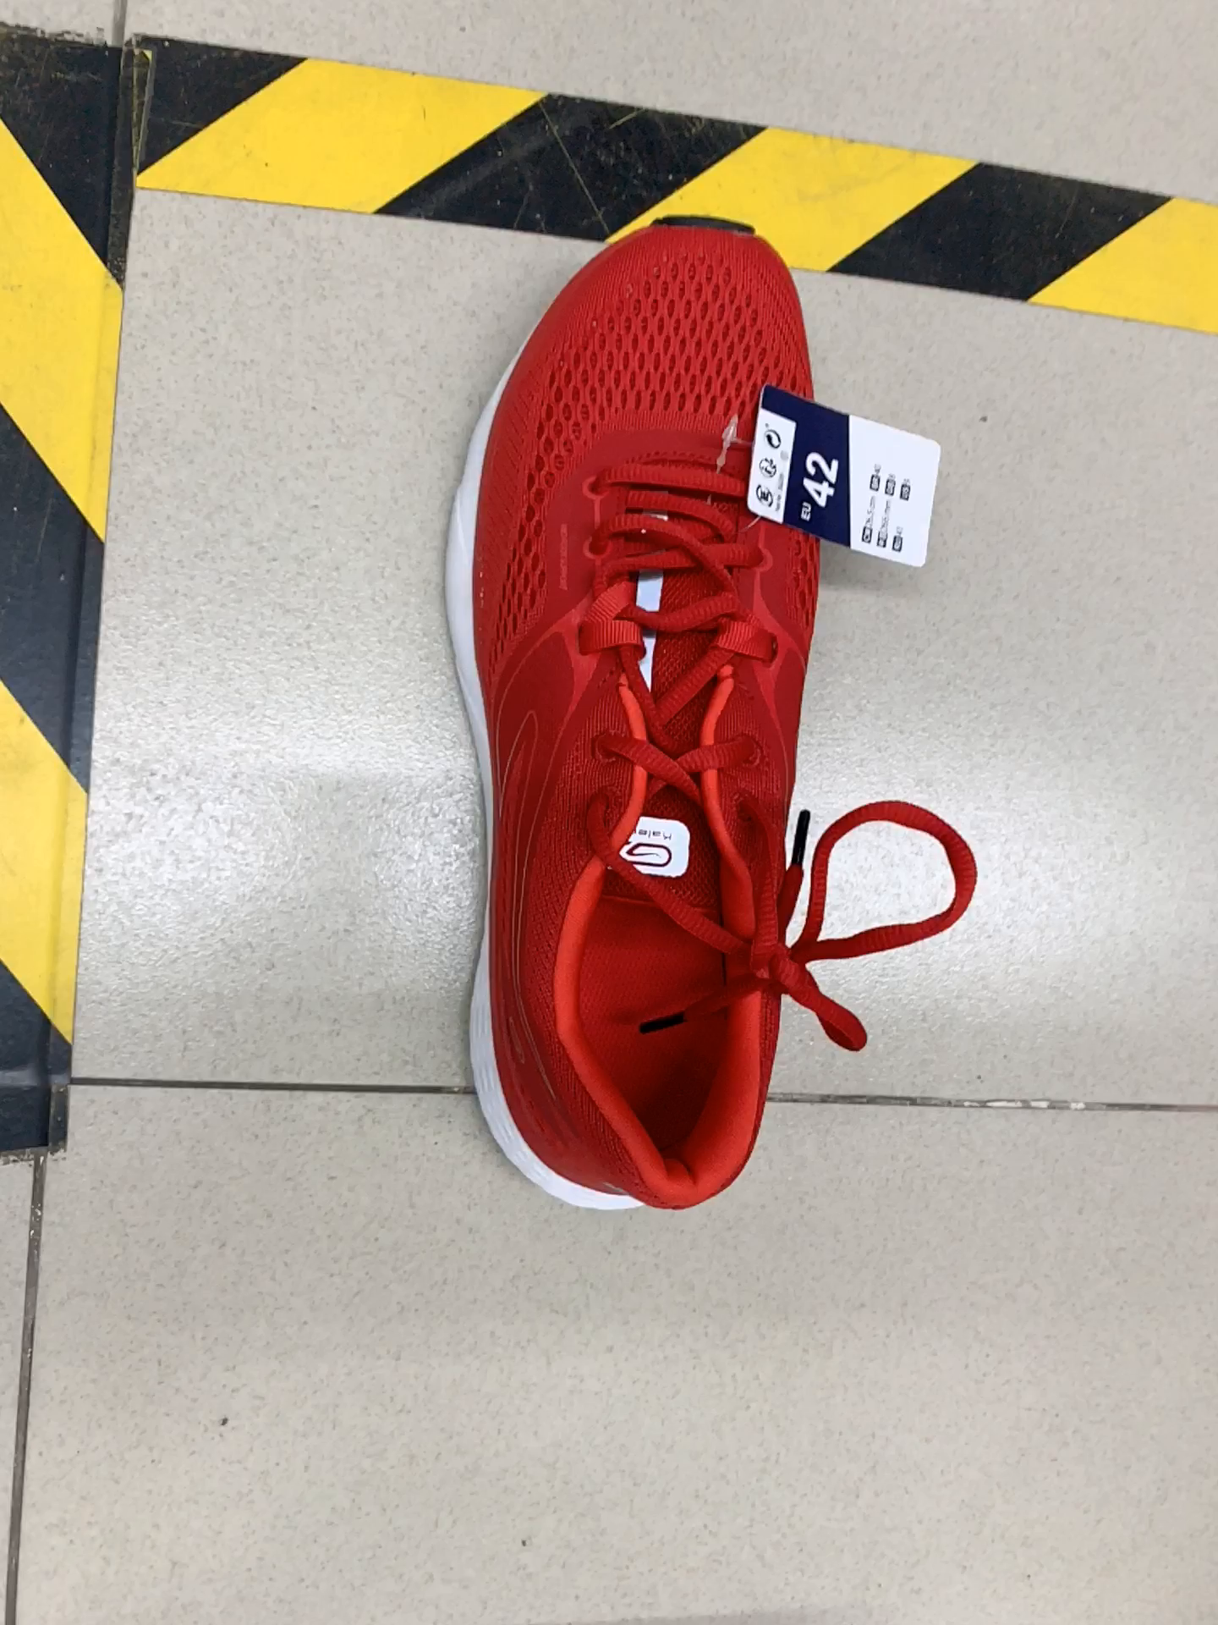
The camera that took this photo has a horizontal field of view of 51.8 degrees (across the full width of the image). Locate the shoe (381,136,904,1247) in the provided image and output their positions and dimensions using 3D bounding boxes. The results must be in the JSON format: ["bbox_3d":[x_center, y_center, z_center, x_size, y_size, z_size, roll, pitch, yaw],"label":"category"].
[{"bbox_3d":[0.004,-0.028,0.371,0.120,0.090,0.280,4,88,-10],"label":"shoe"}]
